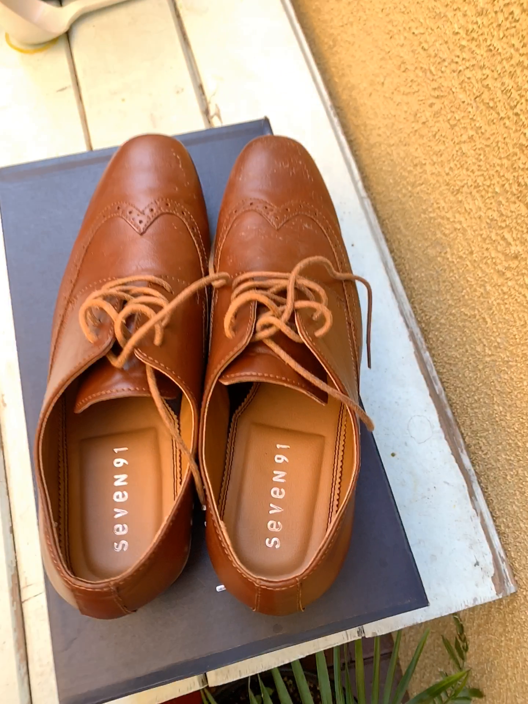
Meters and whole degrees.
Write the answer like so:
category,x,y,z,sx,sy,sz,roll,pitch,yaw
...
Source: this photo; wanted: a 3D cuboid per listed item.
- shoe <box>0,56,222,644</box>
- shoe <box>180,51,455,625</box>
category,x,y,z,sx,sy,sz,roll,pitch,yaw
shoe,-0.082,-0.011,0.311,0.104,0.100,0.301,1,70,-2
shoe,0.020,-0.016,0.315,0.110,0.100,0.301,1,70,-2
